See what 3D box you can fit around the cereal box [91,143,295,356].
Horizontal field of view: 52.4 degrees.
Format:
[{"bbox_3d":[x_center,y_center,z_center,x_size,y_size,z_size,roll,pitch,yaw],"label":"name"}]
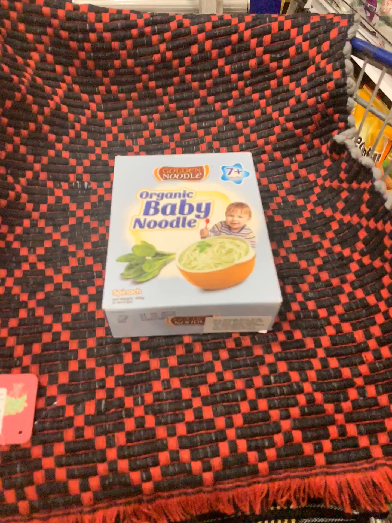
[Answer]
[{"bbox_3d":[-0.007,-0.018,0.321,0.130,0.050,0.171,-2,55,-3],"label":"cereal box"}]
